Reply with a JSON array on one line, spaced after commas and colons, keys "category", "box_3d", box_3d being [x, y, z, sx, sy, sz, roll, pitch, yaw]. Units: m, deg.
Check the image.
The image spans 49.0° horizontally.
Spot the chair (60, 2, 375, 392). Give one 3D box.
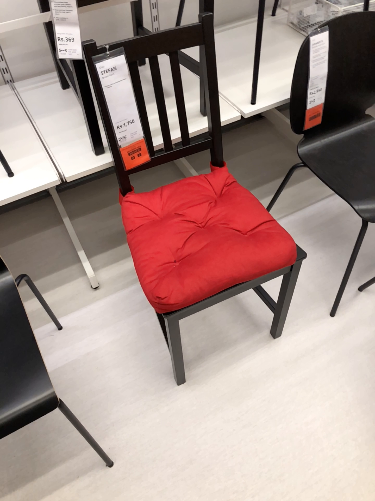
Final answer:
[{"category": "chair", "box_3d": [0.043, -0.085, 1.108, 0.430, 0.835, 0.482, -22, 53, -14]}]
